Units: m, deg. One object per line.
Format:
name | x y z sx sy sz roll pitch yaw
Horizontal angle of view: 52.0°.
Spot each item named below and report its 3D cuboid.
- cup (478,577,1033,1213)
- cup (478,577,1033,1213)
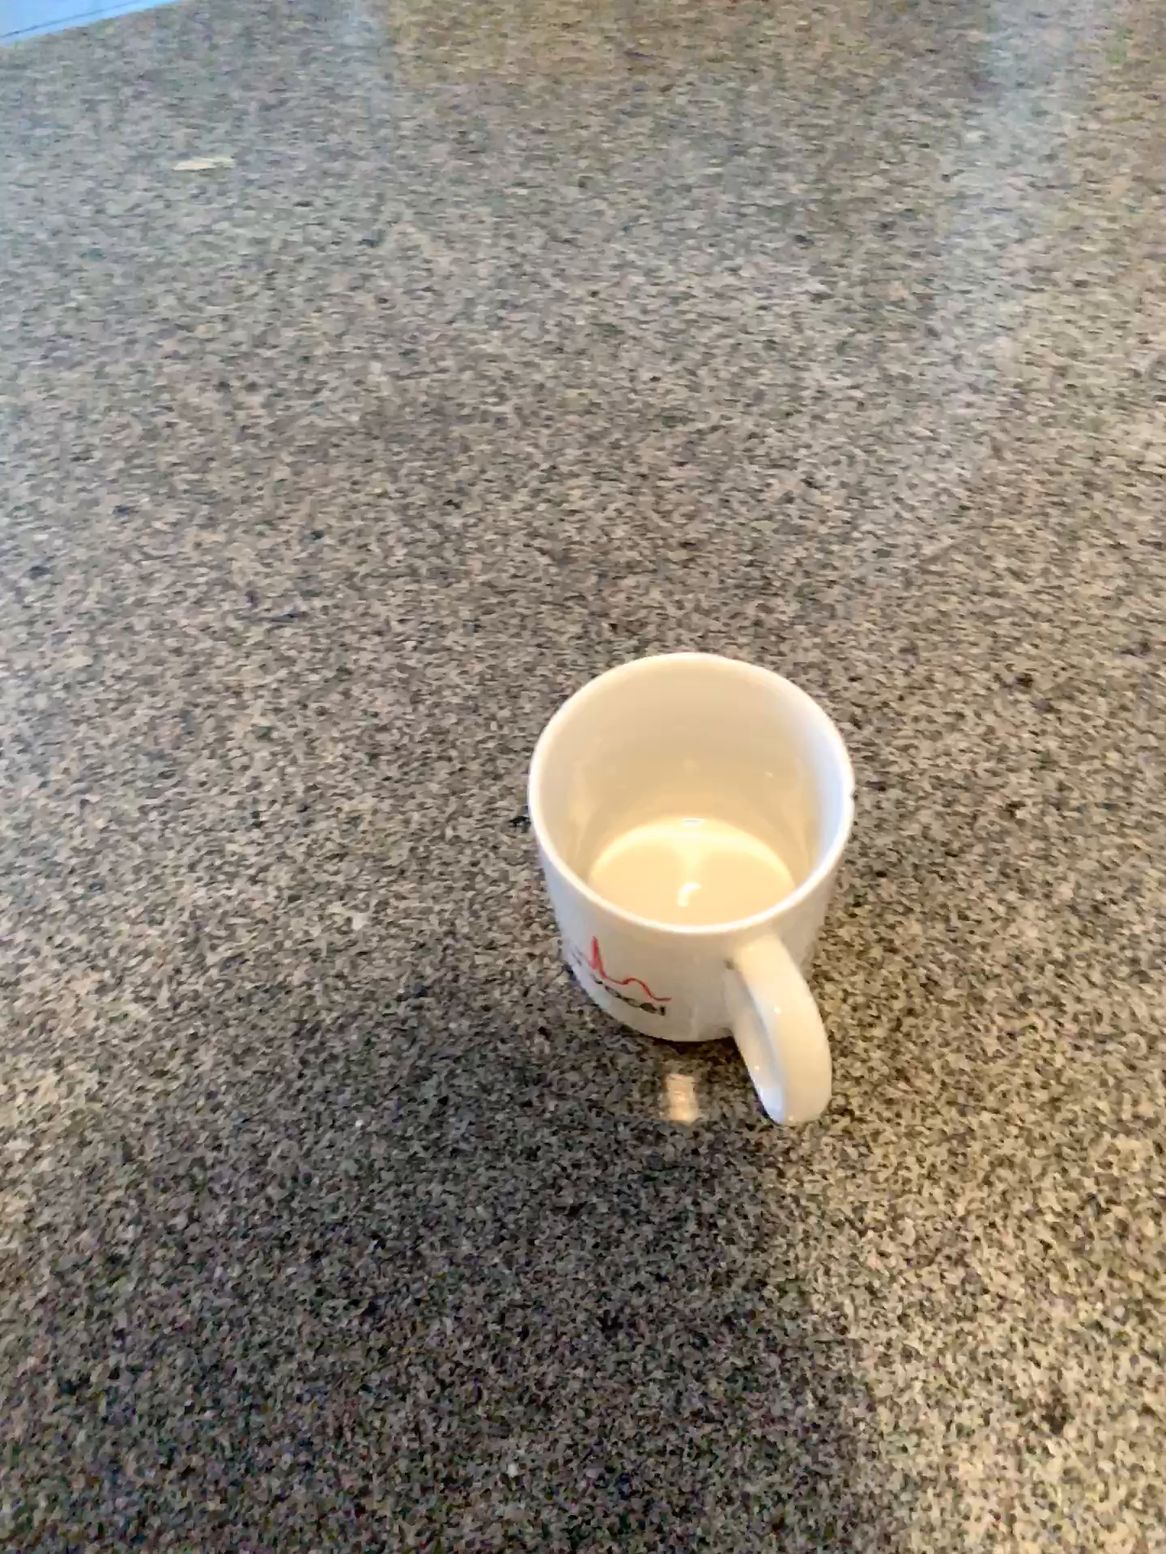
cup | 0.039 0.034 0.326 0.090 0.100 0.120 -19 60 -6
cup | 0.039 0.034 0.326 0.090 0.100 0.120 -19 60 -6
